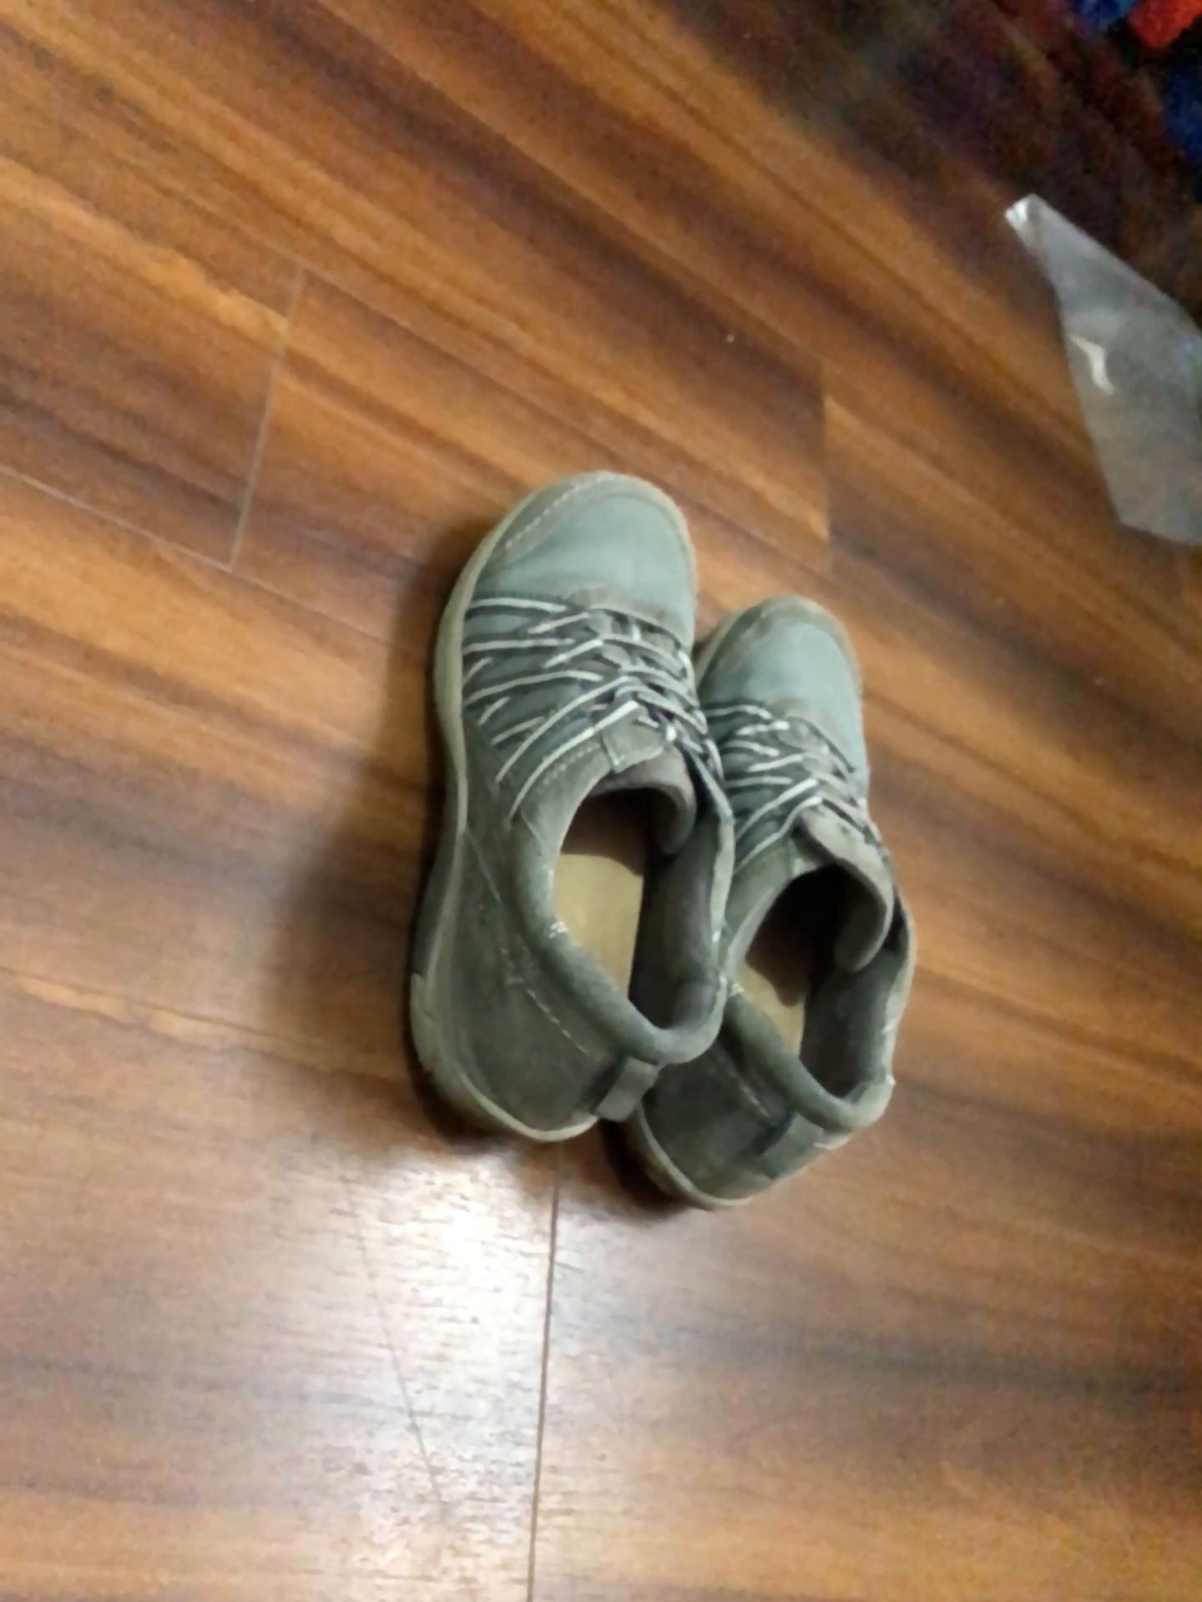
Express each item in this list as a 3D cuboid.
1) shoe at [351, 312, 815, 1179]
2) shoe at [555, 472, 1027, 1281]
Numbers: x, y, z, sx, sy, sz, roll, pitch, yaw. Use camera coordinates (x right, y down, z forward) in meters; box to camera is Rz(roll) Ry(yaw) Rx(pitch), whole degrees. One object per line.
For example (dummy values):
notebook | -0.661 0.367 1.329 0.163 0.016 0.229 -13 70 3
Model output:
shoe | 0.001 -0.021 0.488 0.100 0.109 0.281 24 56 -31
shoe | 0.085 0.023 0.518 0.100 0.109 0.281 33 51 -25
